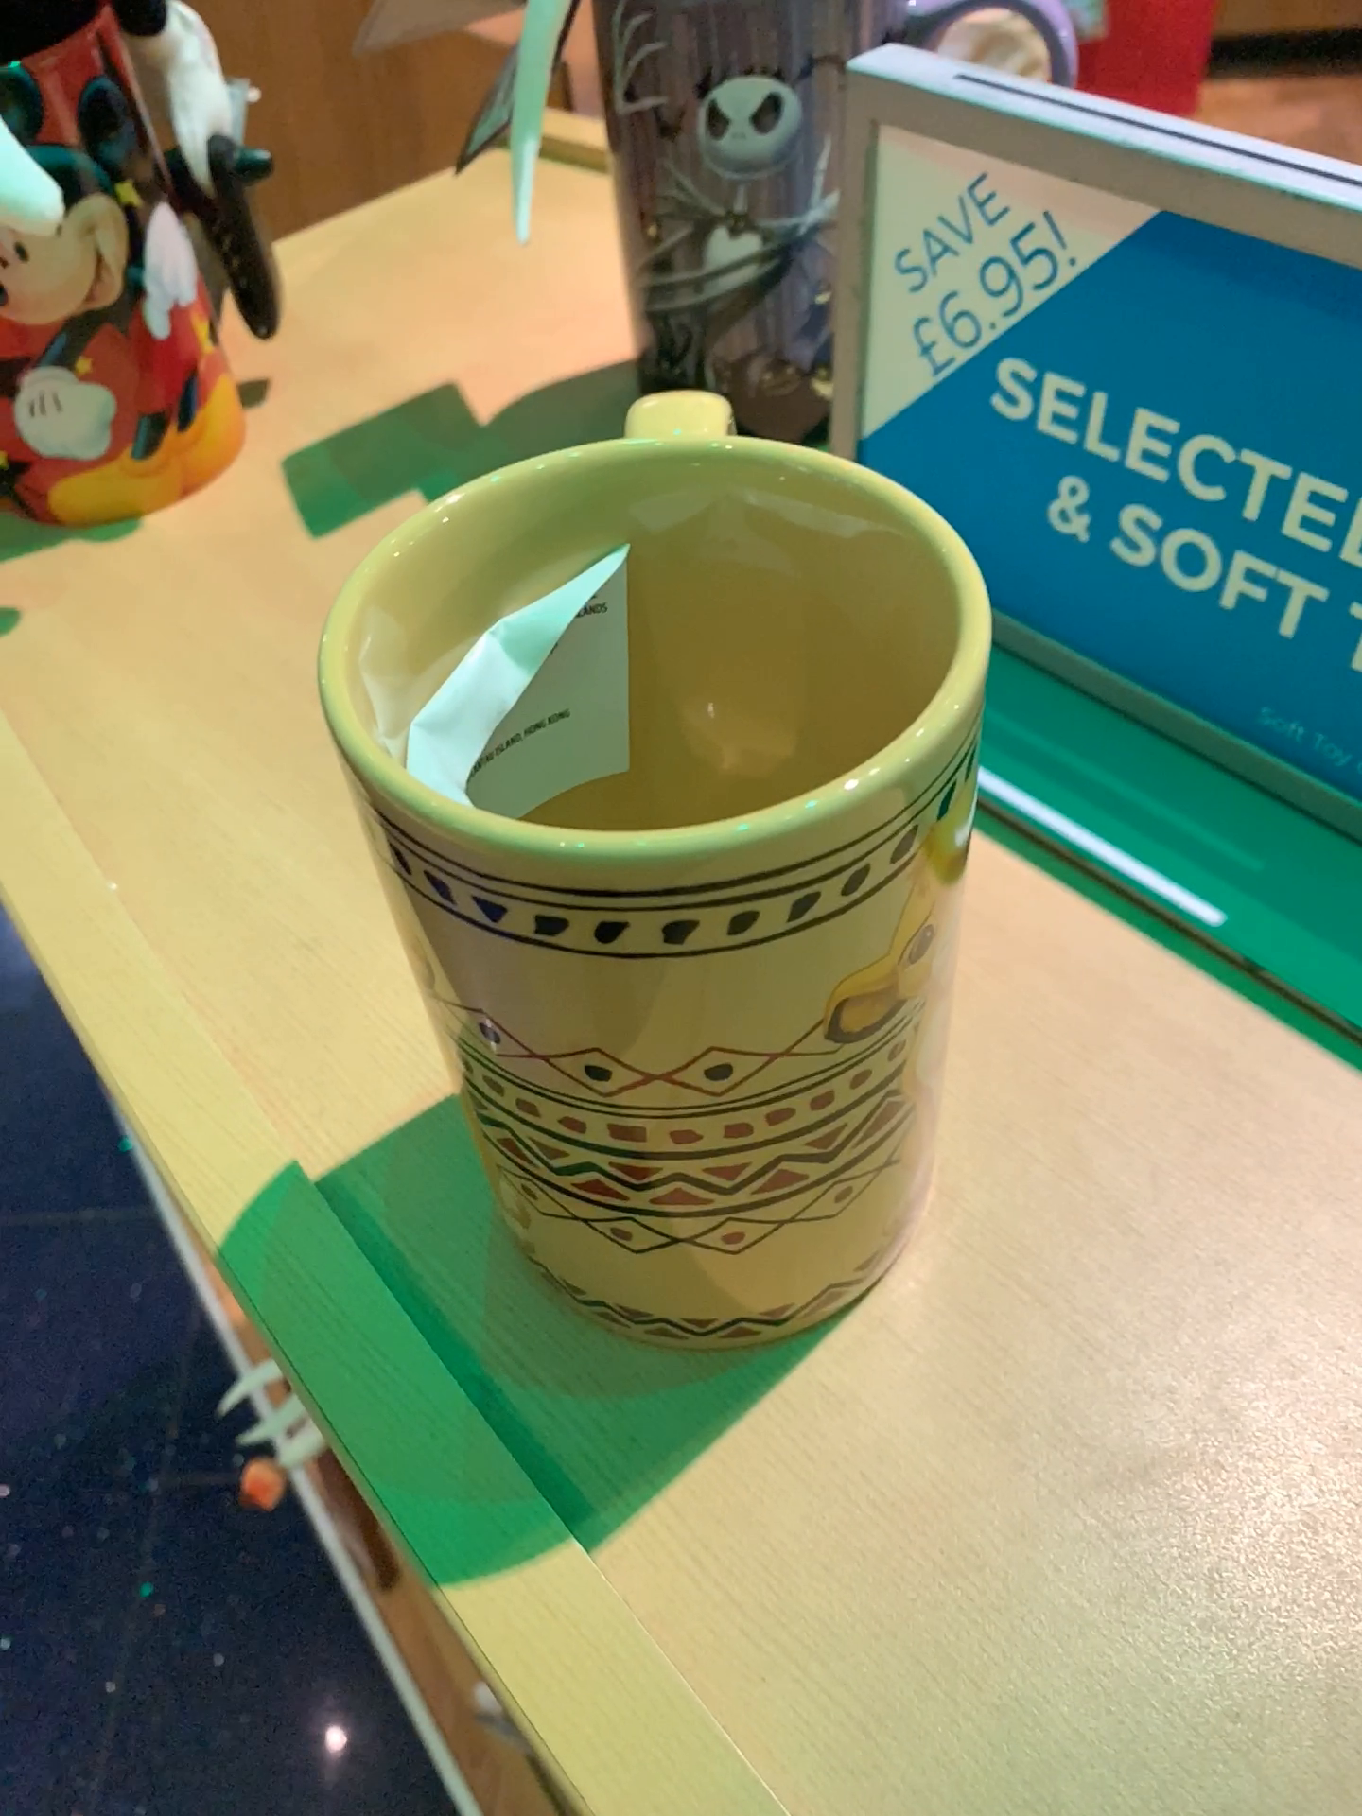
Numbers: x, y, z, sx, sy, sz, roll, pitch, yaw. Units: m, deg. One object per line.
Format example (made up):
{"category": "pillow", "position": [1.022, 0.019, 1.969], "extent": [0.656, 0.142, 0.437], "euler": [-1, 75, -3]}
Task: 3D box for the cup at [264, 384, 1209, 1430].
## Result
{"category": "cup", "position": [0.005, 0.001, 0.235], "extent": [0.100, 0.121, 0.120], "euler": [-2, 48, -1]}
